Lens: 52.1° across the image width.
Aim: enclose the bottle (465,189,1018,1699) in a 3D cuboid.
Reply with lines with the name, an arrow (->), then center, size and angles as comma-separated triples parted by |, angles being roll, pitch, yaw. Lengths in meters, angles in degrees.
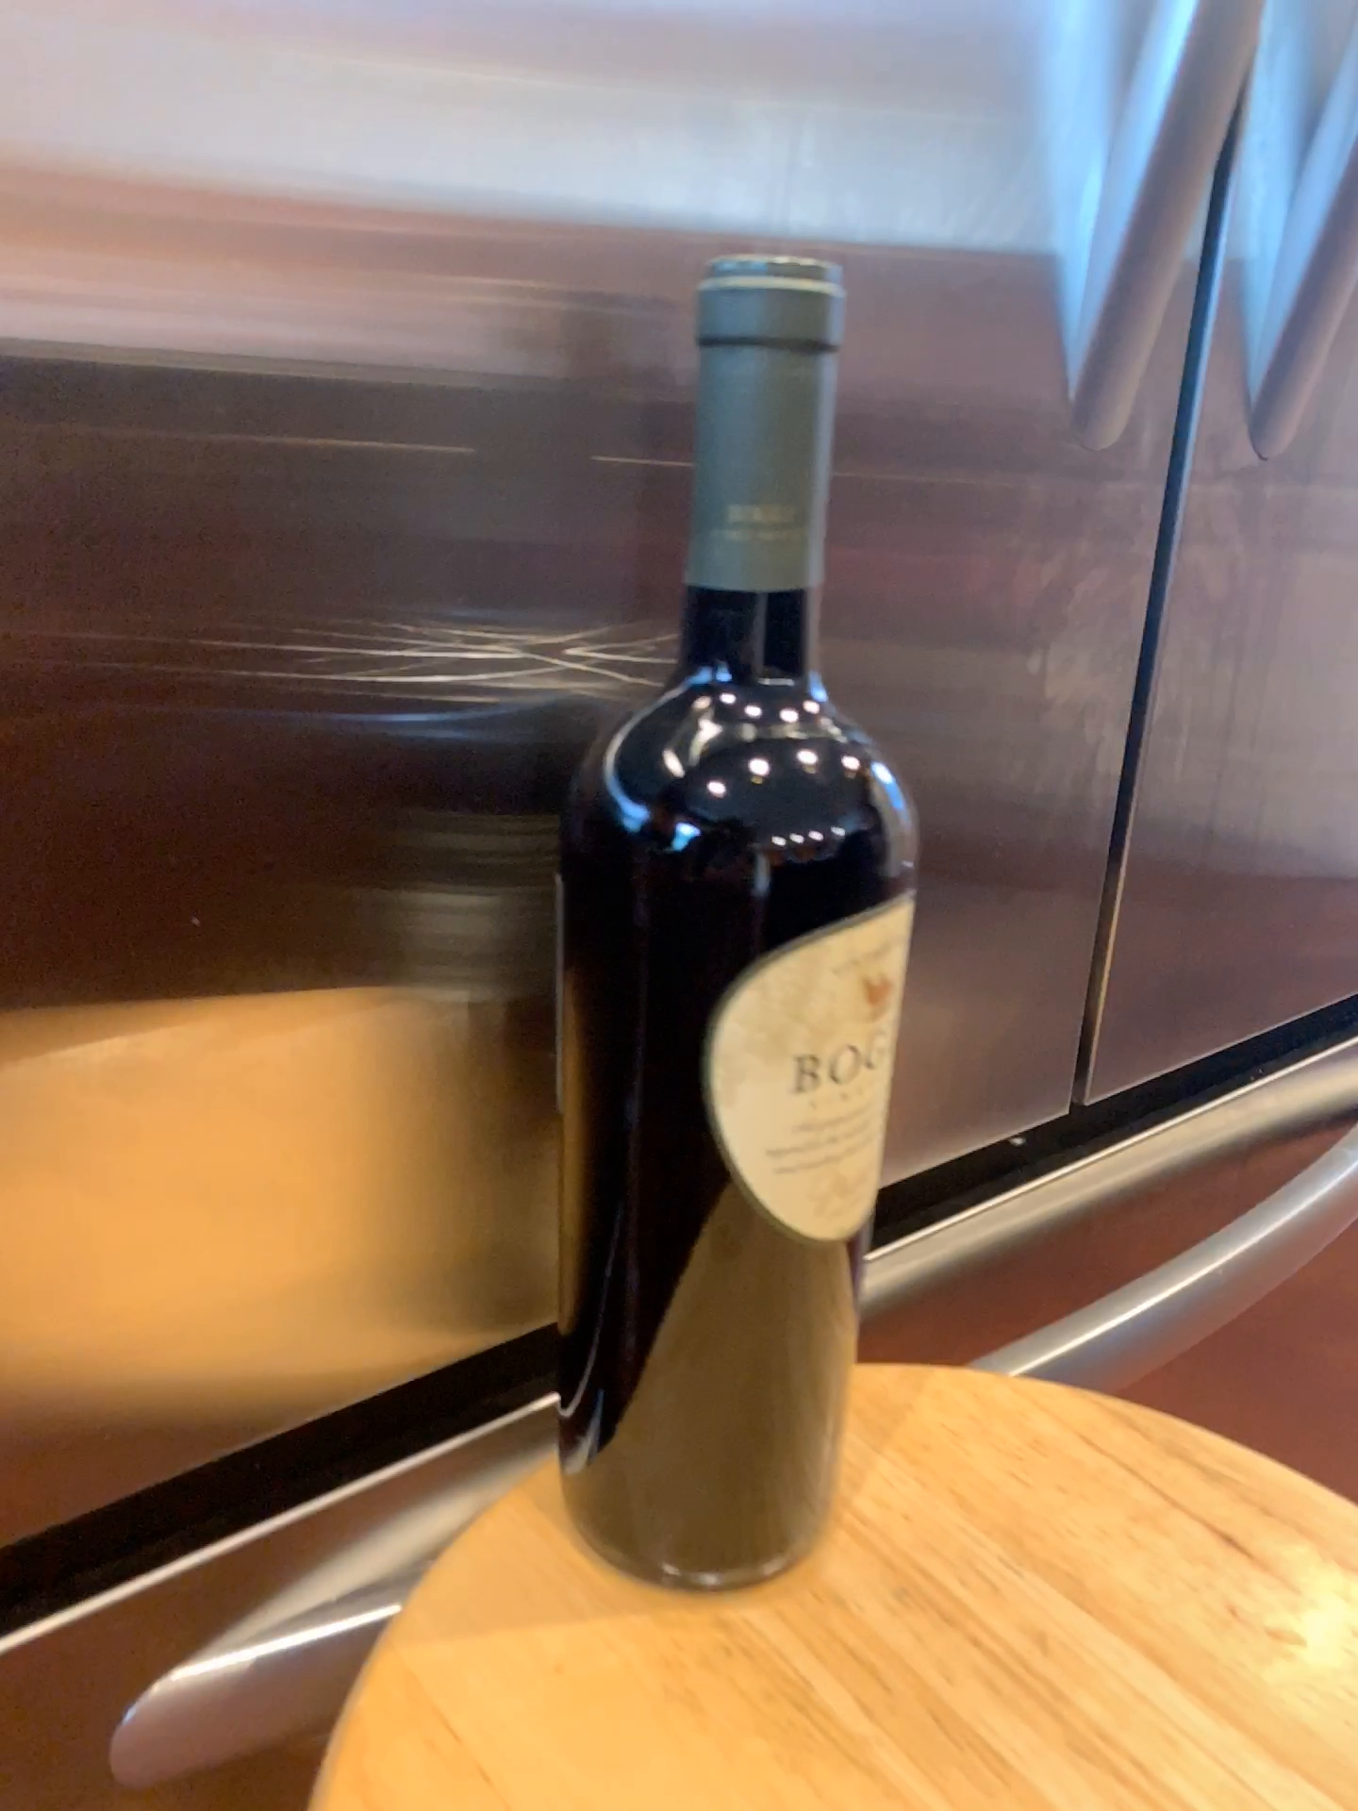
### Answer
bottle -> 0.008, 0.016, 0.328 | 0.080, 0.319, 0.080 | 3, 18, -1
